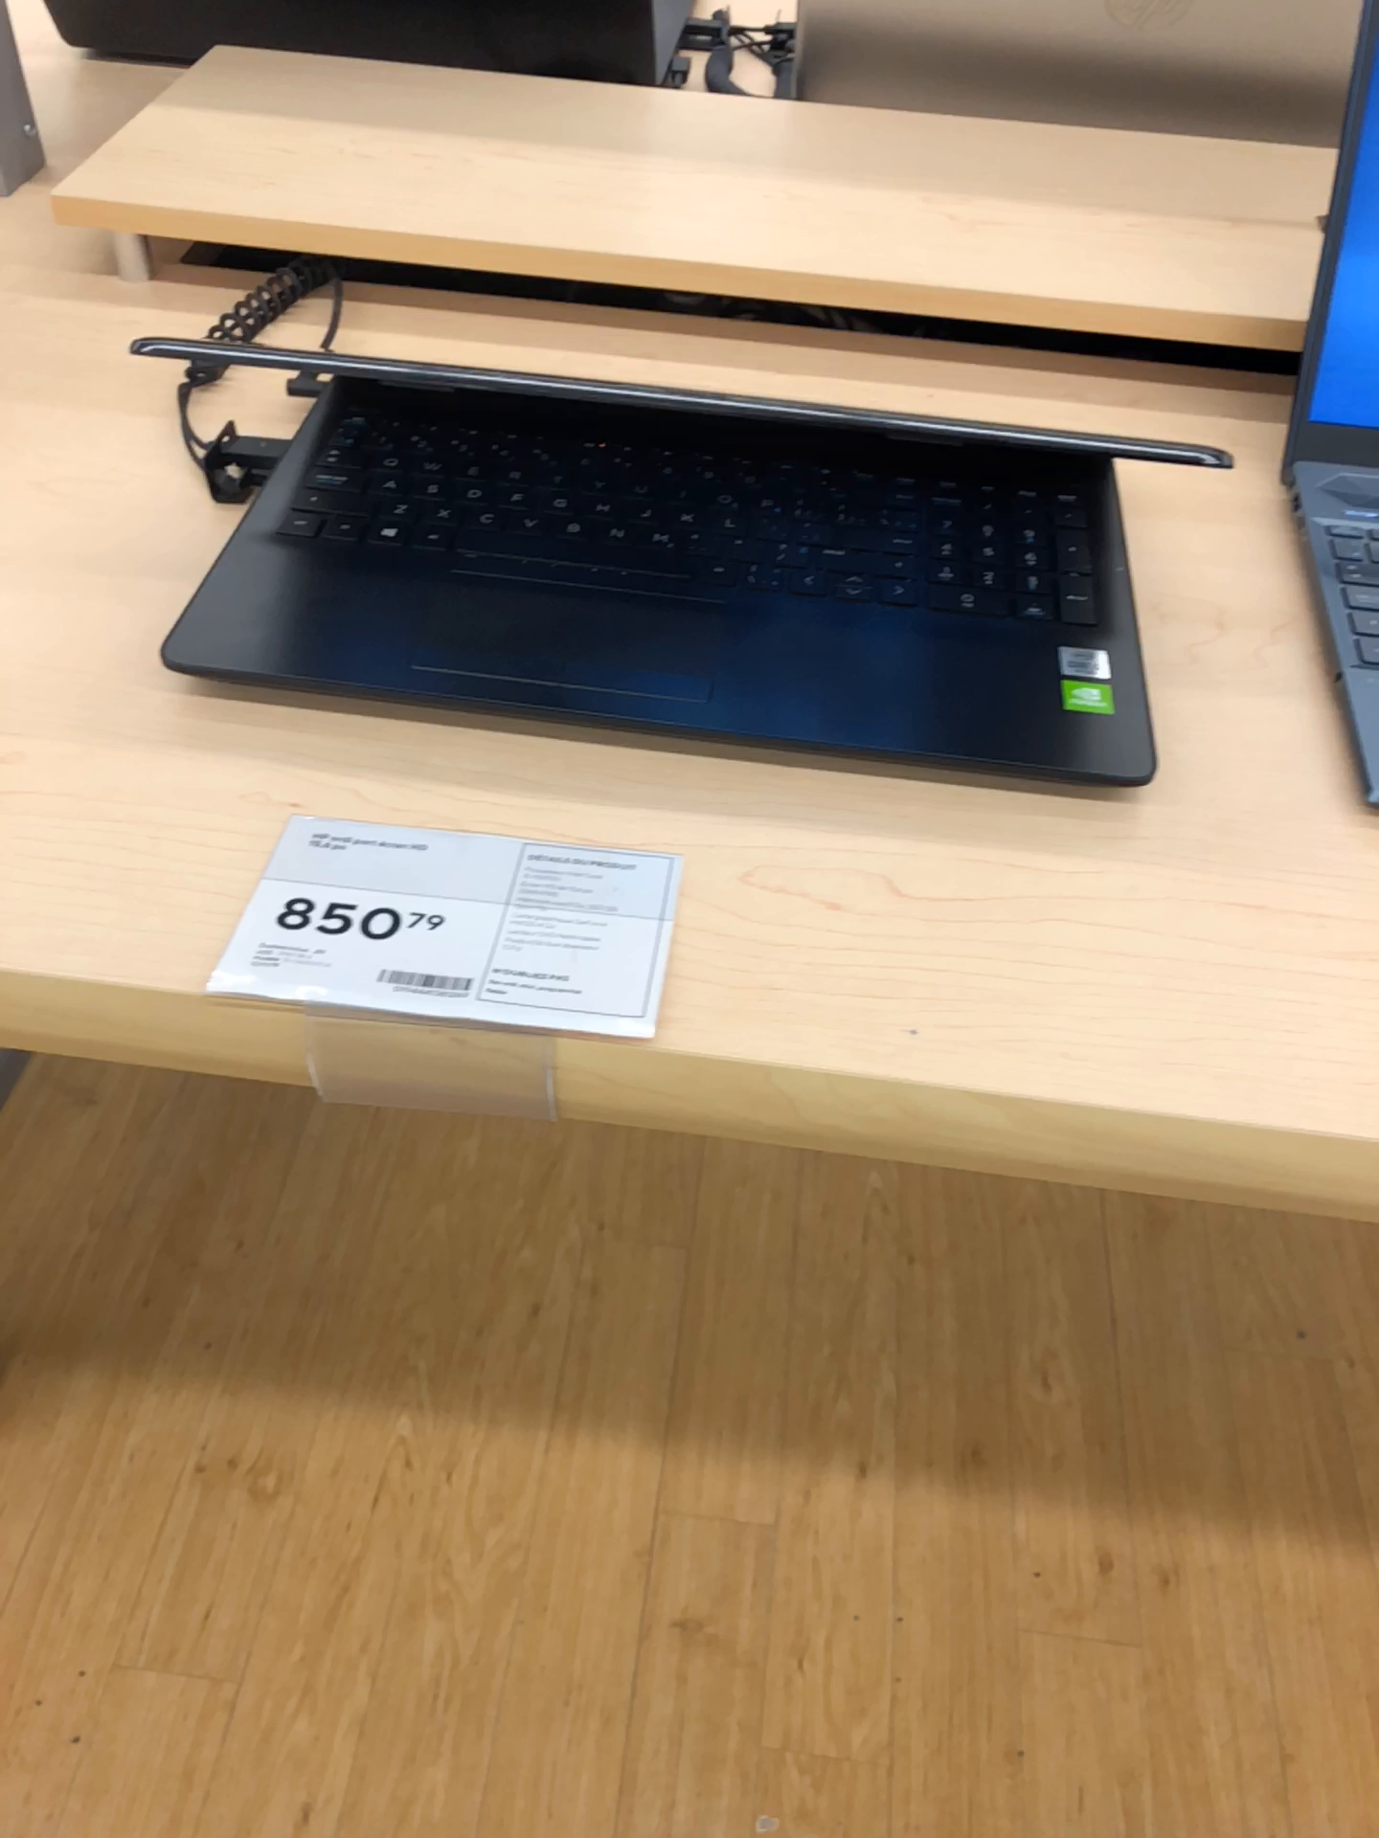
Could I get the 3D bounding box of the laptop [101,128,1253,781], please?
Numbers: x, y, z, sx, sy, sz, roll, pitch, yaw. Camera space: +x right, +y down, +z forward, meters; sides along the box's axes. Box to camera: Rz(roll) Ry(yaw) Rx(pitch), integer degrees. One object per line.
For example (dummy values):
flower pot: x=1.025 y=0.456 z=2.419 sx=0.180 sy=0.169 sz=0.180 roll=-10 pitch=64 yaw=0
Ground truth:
laptop: x=0.000 y=-0.199 z=0.608 sx=0.371 sy=0.115 sz=0.240 roll=7 pitch=45 yaw=4
